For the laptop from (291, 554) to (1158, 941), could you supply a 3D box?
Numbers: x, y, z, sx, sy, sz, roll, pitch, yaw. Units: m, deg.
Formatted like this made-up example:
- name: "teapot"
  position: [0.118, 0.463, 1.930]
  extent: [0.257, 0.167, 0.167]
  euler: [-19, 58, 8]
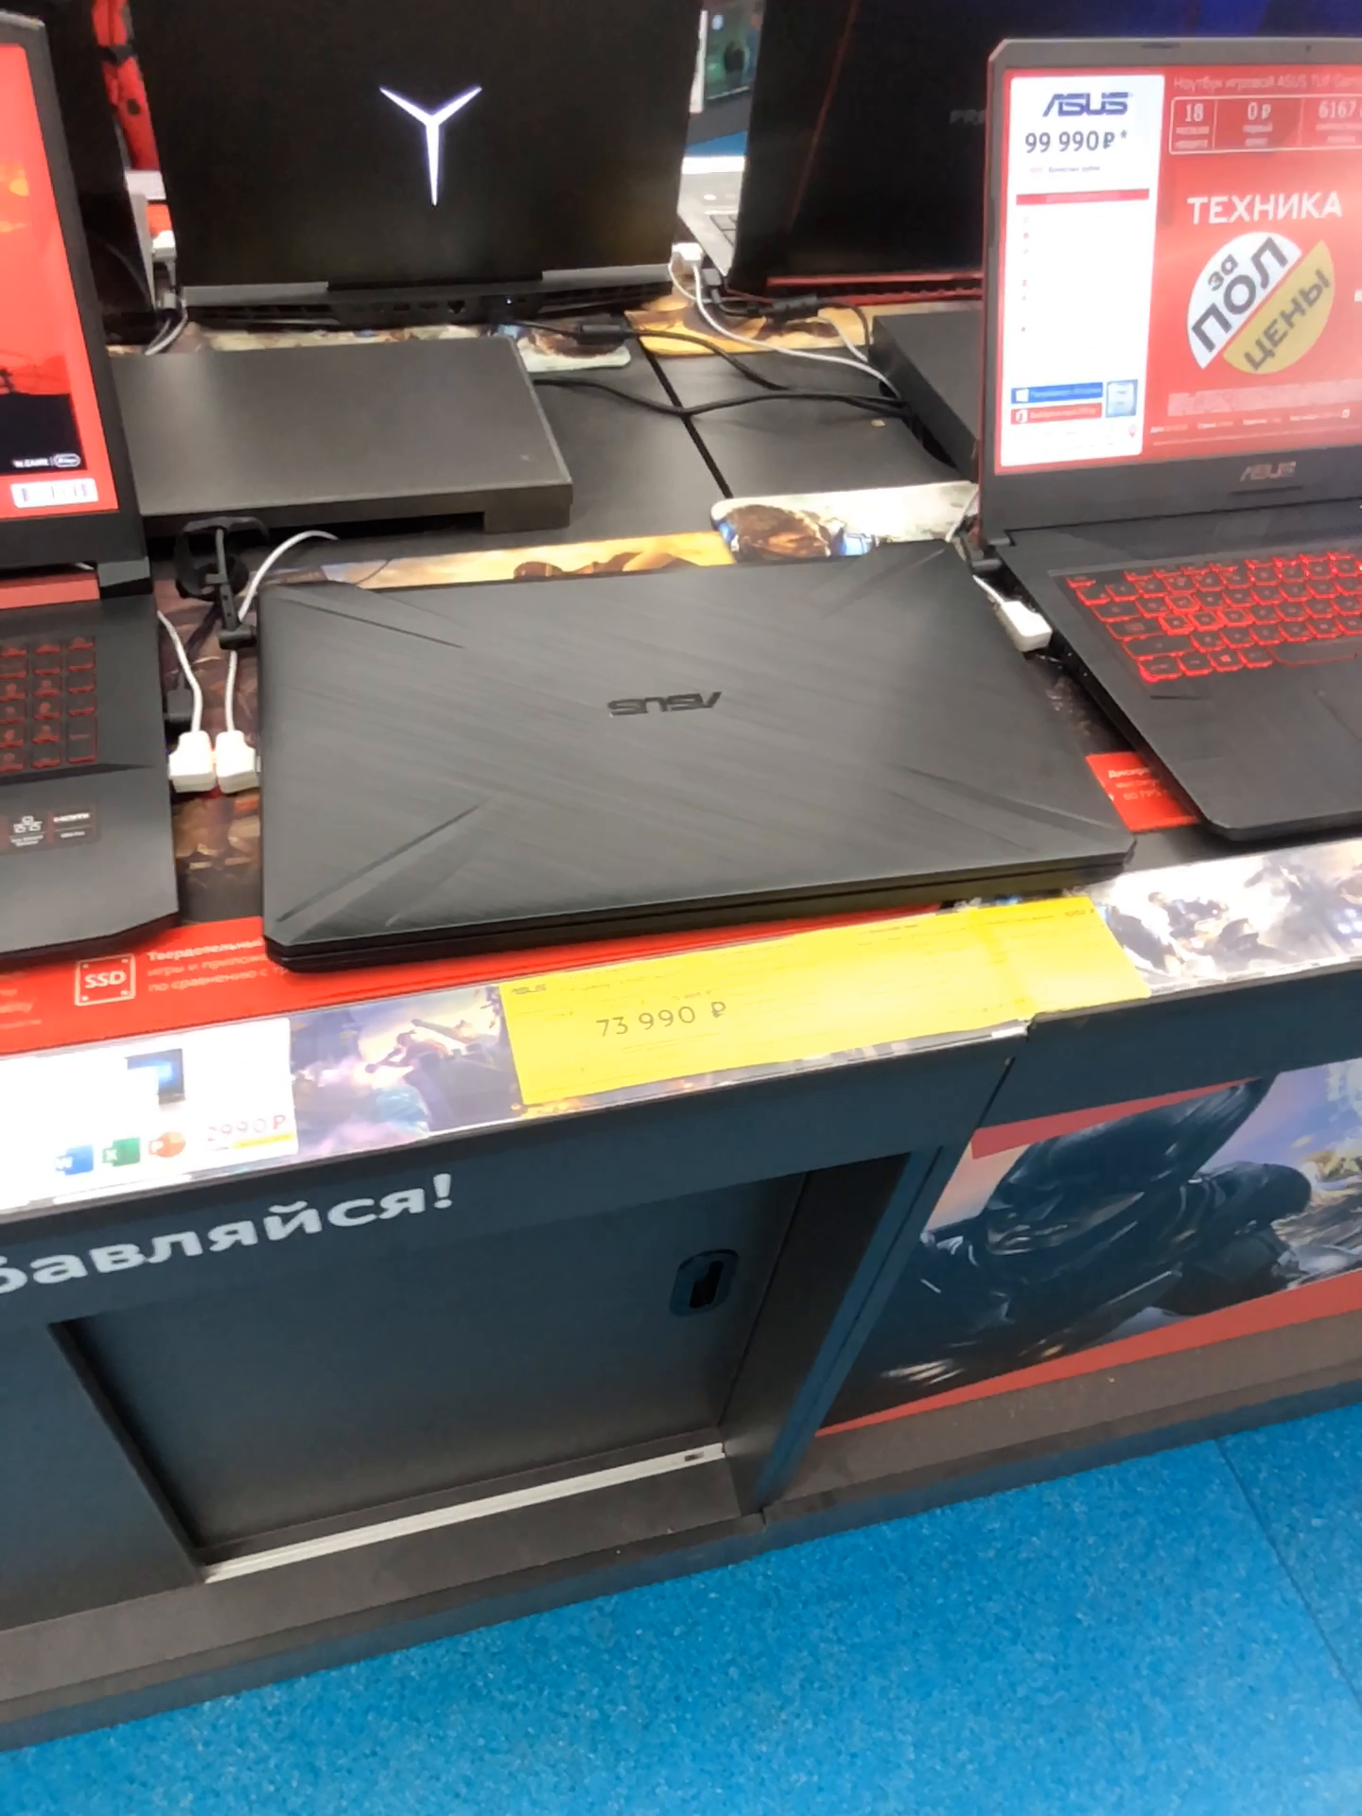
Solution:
- name: "laptop"
  position: [0.005, -0.097, 0.751]
  extent: [0.385, 0.001, 0.262]
  euler: [-7, 45, -10]
